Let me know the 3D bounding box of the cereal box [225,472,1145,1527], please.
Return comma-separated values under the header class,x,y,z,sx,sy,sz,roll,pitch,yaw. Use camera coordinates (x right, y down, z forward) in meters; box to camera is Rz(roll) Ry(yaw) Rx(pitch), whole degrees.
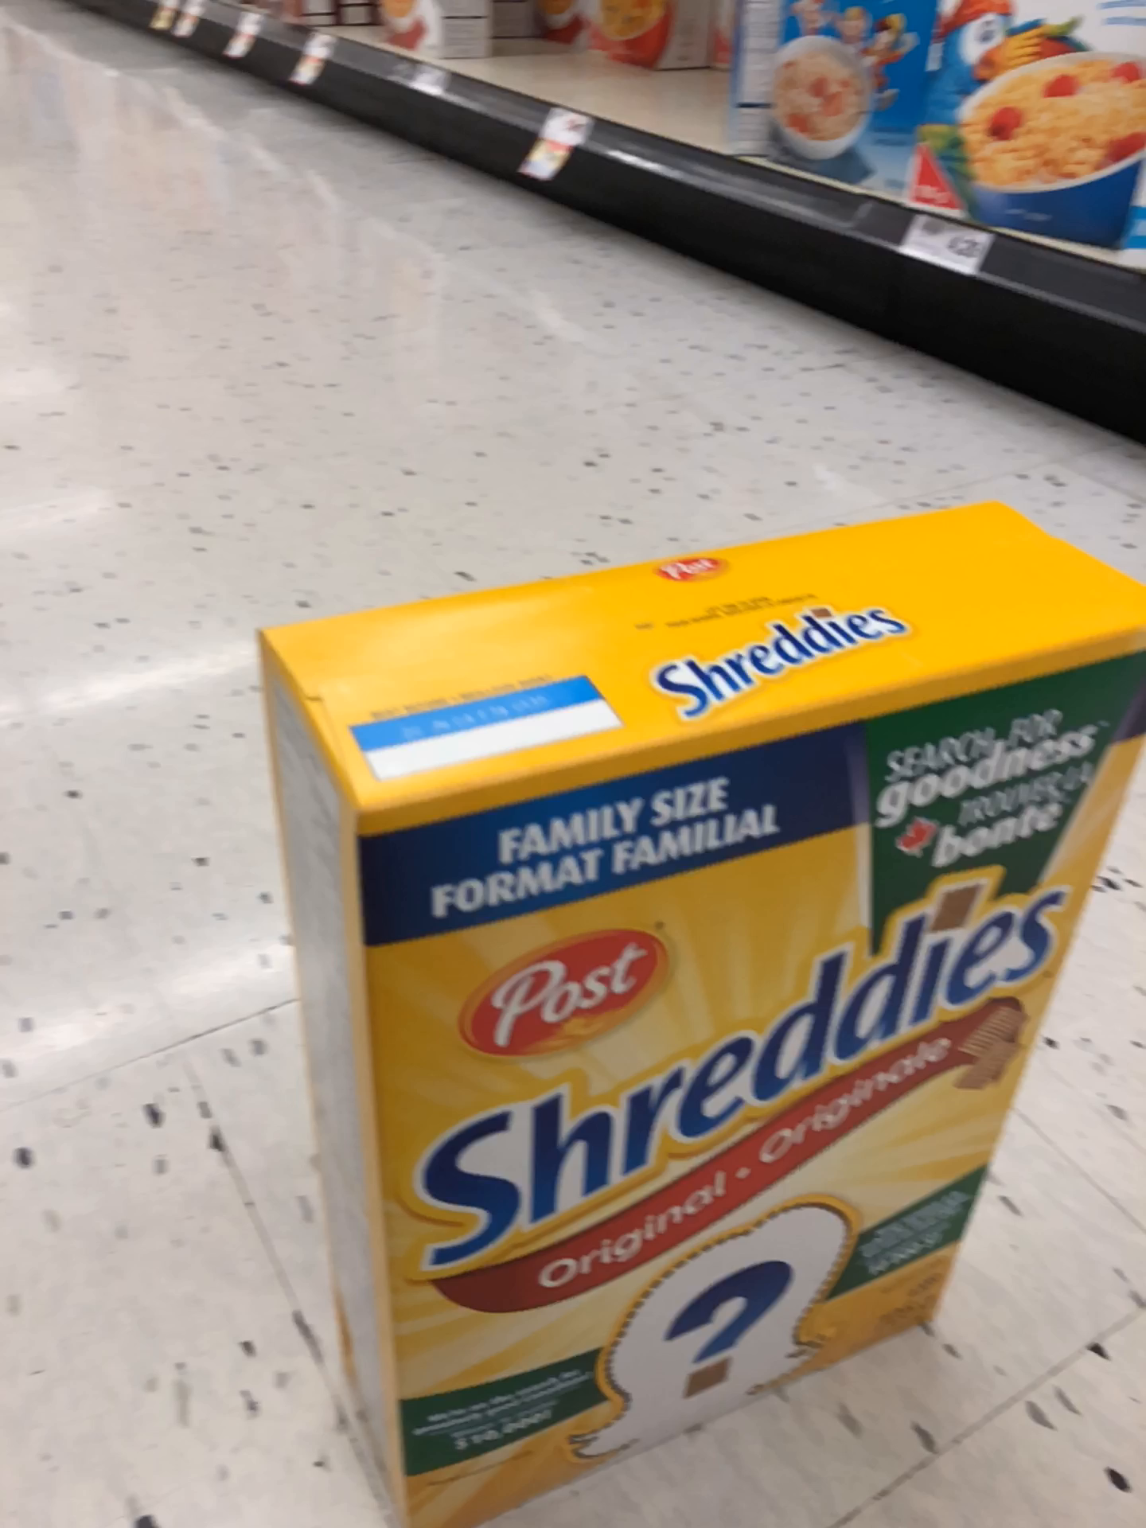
class,x,y,z,sx,sy,sz,roll,pitch,yaw
cereal box,0.028,0.090,0.373,0.210,0.318,0.070,-14,41,-22
